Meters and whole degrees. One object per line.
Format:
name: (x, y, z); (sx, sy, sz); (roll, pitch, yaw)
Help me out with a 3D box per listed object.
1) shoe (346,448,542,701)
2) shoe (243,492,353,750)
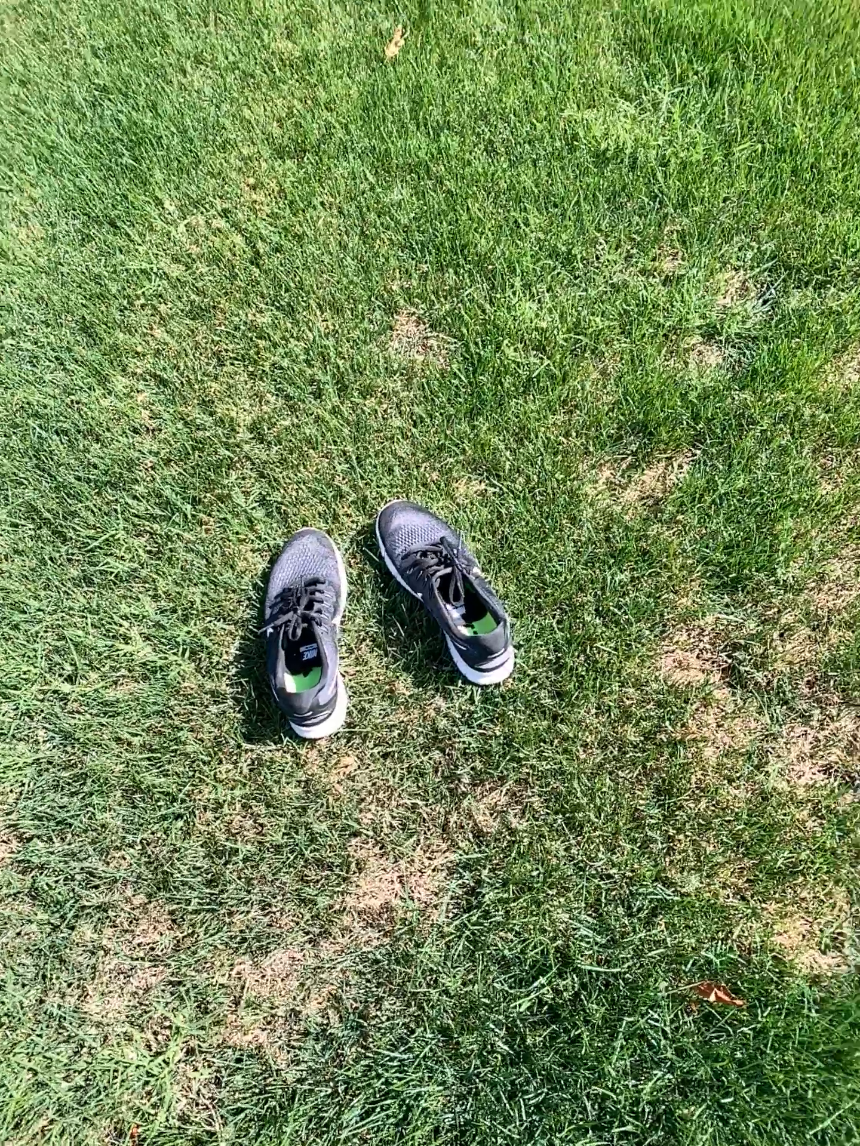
shoe: (0.016, 0.002, 1.073); (0.100, 0.130, 0.271); (-30, 68, -8)
shoe: (-0.155, 0.059, 1.069); (0.100, 0.130, 0.280); (-4, 67, 3)
